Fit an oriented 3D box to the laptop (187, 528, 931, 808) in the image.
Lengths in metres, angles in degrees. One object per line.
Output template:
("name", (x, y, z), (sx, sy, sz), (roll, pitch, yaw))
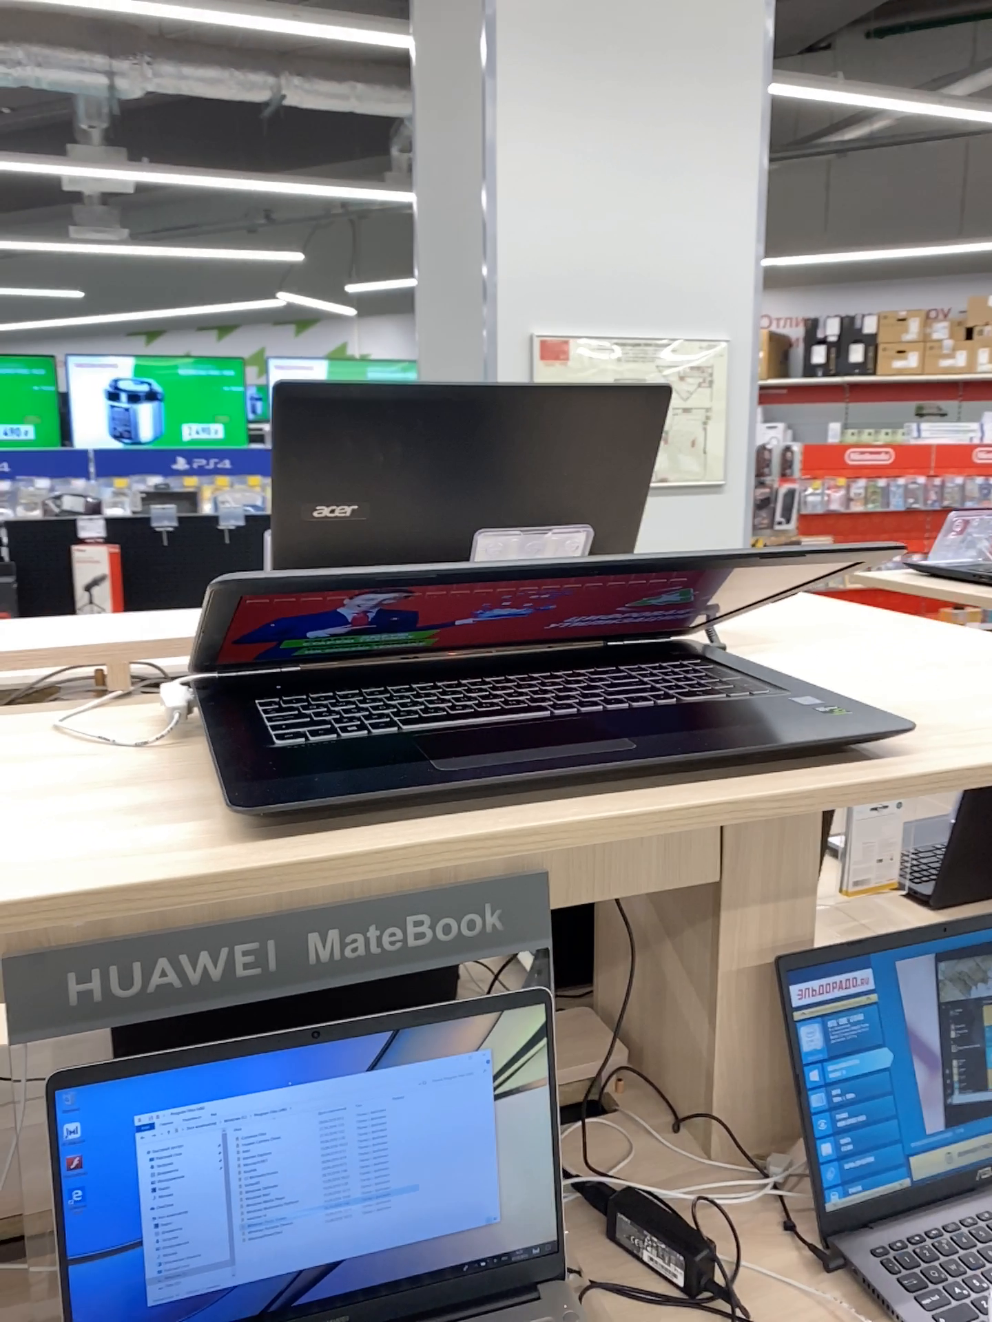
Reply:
("laptop", (0.020, -0.020, 0.674), (0.413, 0.095, 0.269), (-4, 14, -19))
